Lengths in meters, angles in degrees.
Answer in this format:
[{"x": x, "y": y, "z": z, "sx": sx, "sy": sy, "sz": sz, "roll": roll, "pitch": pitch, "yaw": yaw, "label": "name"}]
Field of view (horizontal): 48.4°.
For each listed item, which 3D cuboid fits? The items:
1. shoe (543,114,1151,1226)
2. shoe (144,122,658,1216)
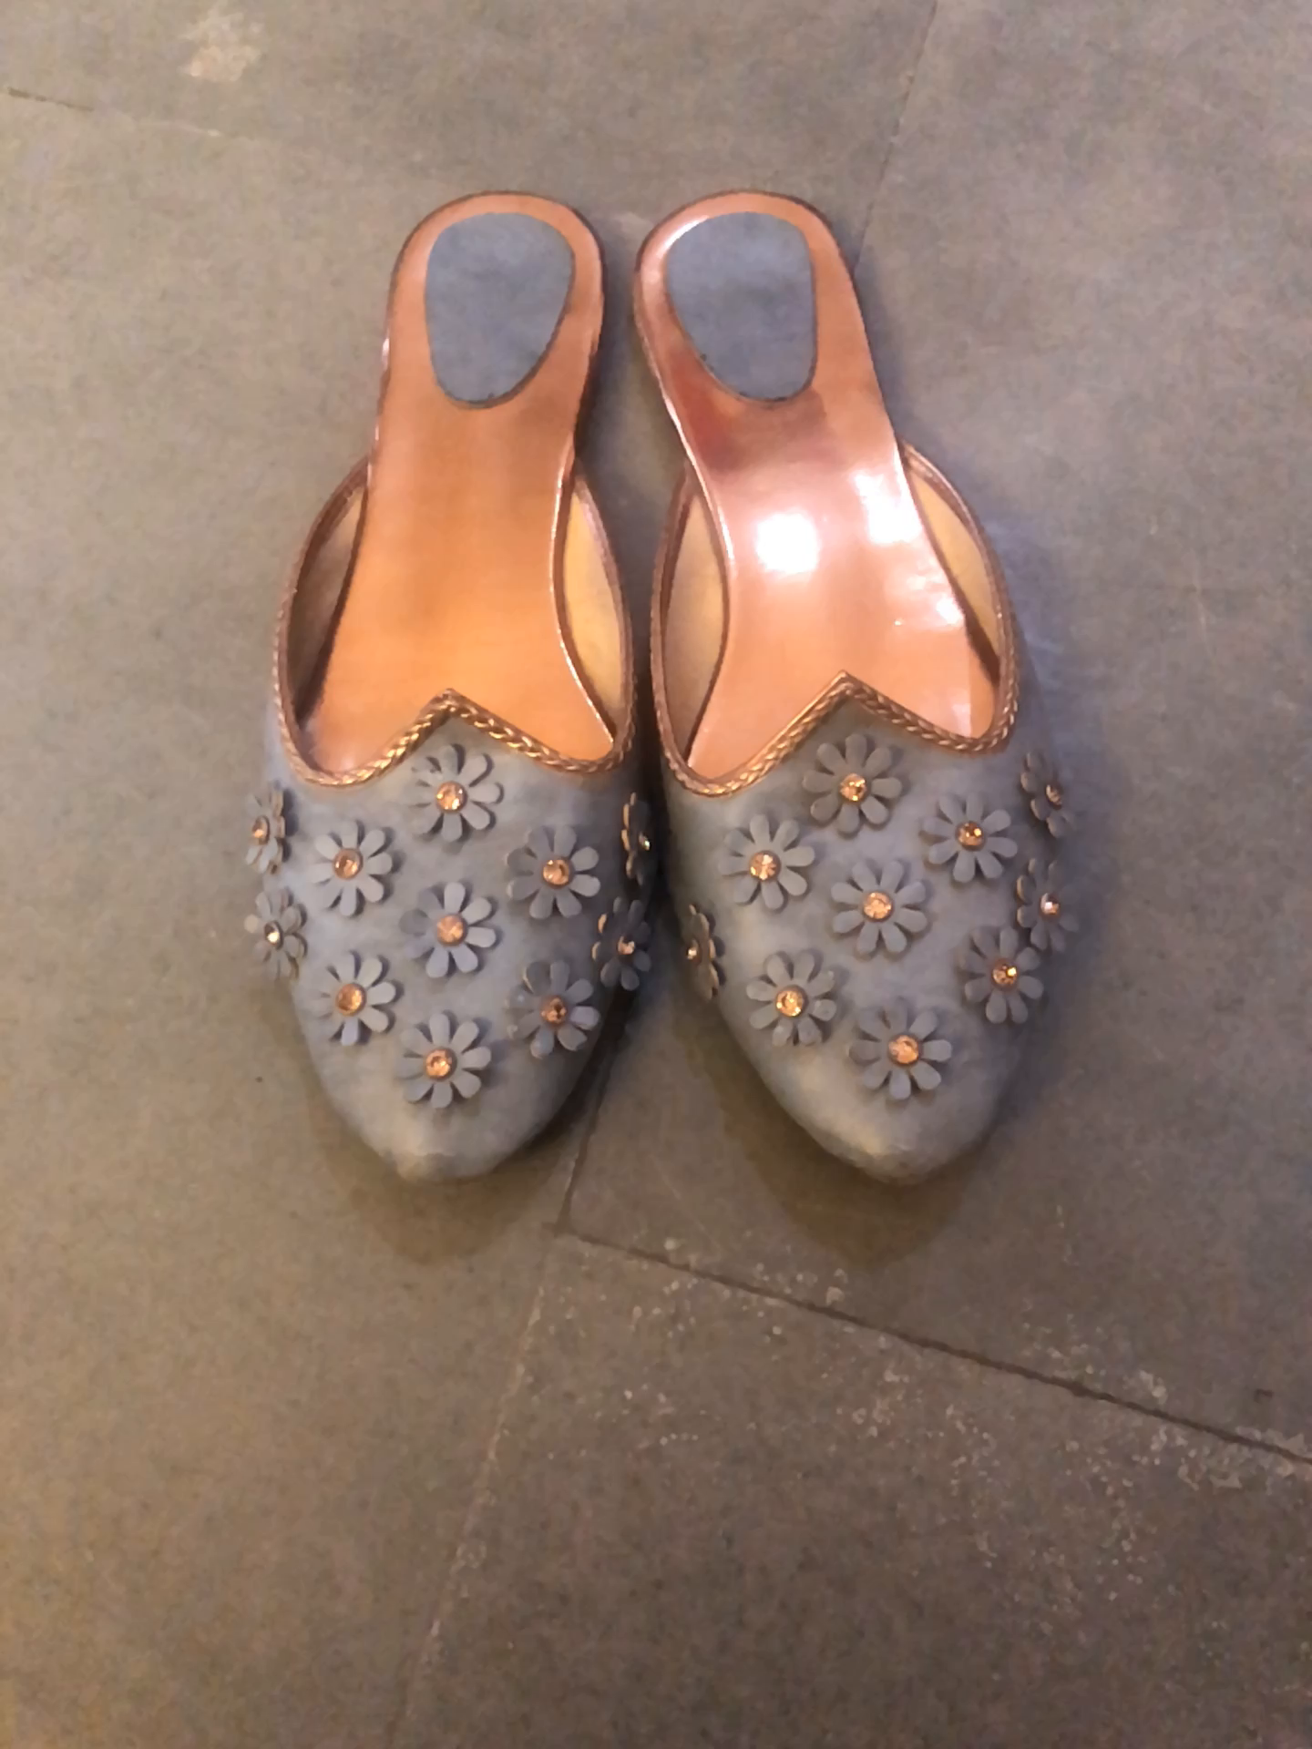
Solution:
[{"x": 0.036, "y": -0.059, "z": 0.360, "sx": 0.100, "sy": 0.050, "sz": 0.270, "roll": -7, "pitch": 70, "yaw": 0, "label": "shoe"}, {"x": -0.052, "y": -0.058, "z": 0.357, "sx": 0.100, "sy": 0.050, "sz": 0.270, "roll": -1, "pitch": 70, "yaw": 2, "label": "shoe"}]
